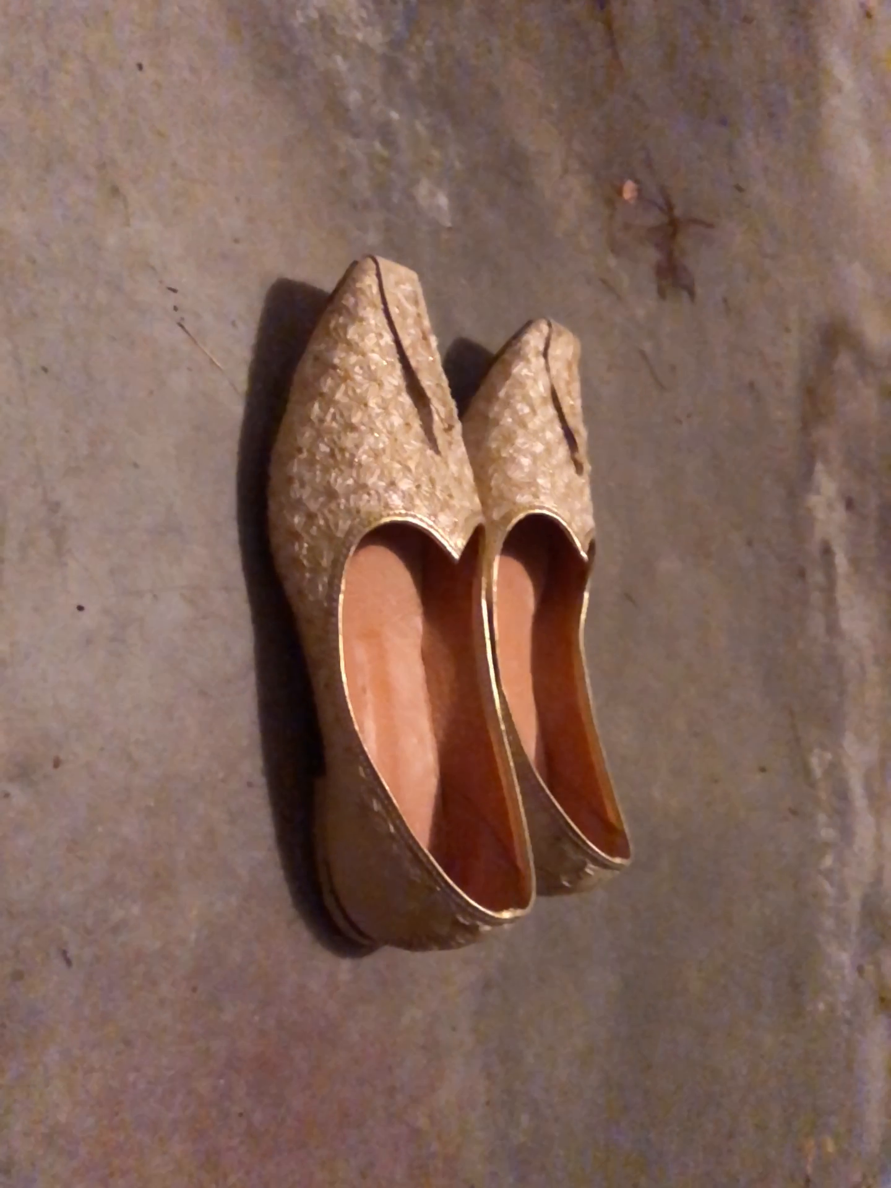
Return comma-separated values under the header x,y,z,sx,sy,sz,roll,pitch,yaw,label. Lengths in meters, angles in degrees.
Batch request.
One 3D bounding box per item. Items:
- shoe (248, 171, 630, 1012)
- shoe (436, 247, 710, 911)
x,y,z,sx,sy,sz,roll,pitch,yaw,label
-0.001,0.000,0.383,0.104,0.073,0.275,0,82,-51,shoe
0.061,-0.002,0.458,0.104,0.073,0.275,17,70,-48,shoe
